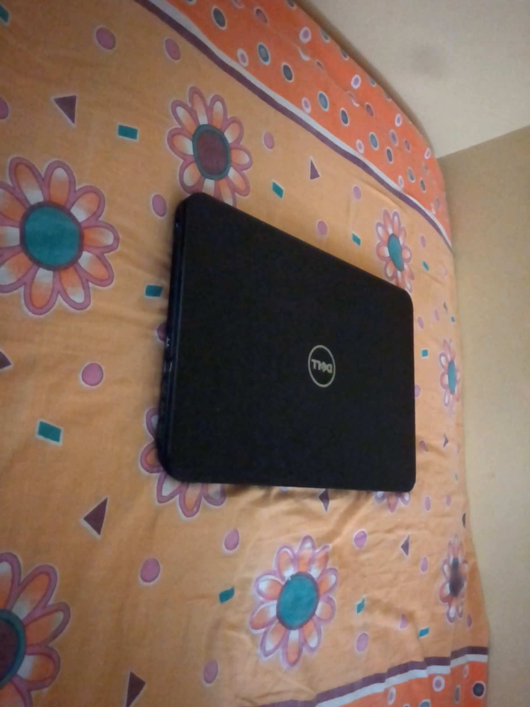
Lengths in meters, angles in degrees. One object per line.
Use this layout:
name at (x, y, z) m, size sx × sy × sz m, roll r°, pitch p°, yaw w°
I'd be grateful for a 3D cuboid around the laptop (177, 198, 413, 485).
laptop at (0.061, 0.012, 0.620) m, size 0.360 × 0.001 × 0.236 m, roll 15°, pitch 74°, yaw -43°
